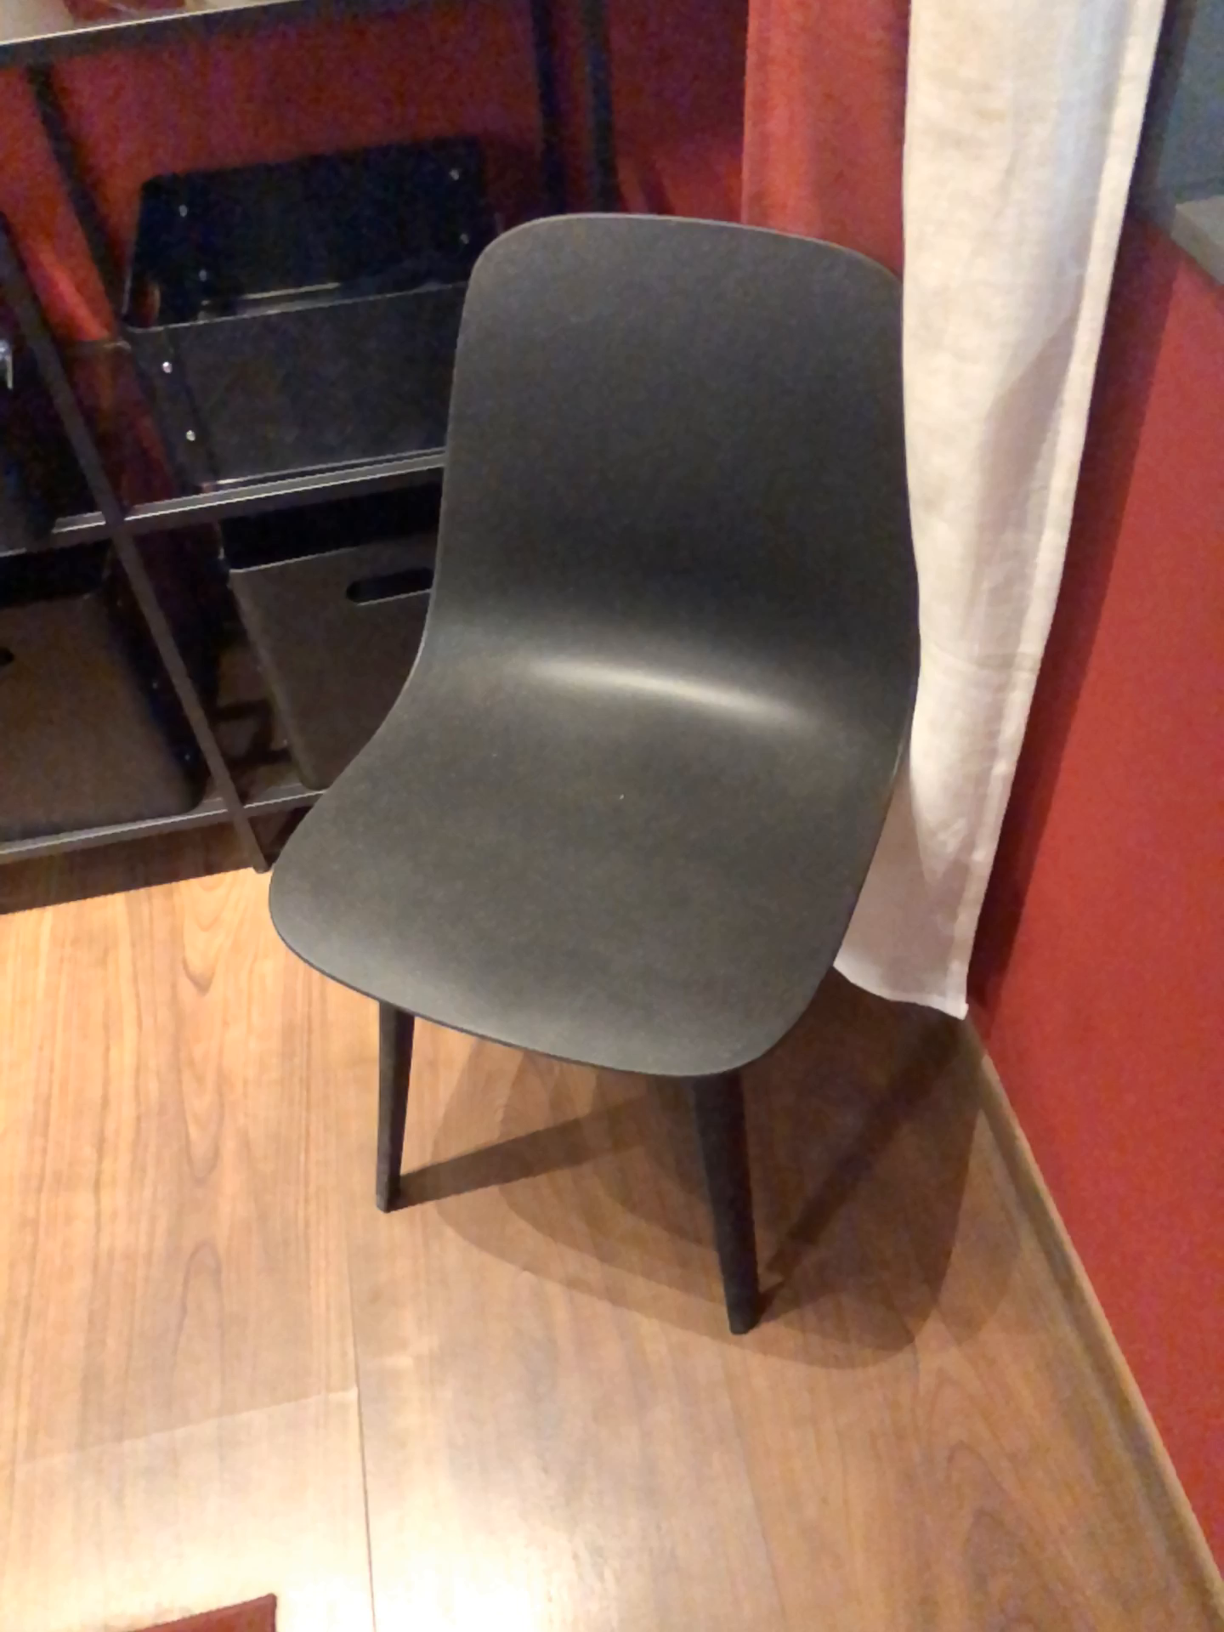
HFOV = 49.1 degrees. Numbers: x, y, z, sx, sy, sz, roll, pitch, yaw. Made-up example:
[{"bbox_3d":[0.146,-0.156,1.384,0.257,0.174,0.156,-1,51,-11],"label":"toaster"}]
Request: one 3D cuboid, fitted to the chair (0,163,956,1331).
[{"bbox_3d":[-0.029,-0.022,1.057,0.411,0.726,0.482,13,52,15],"label":"chair"}]
